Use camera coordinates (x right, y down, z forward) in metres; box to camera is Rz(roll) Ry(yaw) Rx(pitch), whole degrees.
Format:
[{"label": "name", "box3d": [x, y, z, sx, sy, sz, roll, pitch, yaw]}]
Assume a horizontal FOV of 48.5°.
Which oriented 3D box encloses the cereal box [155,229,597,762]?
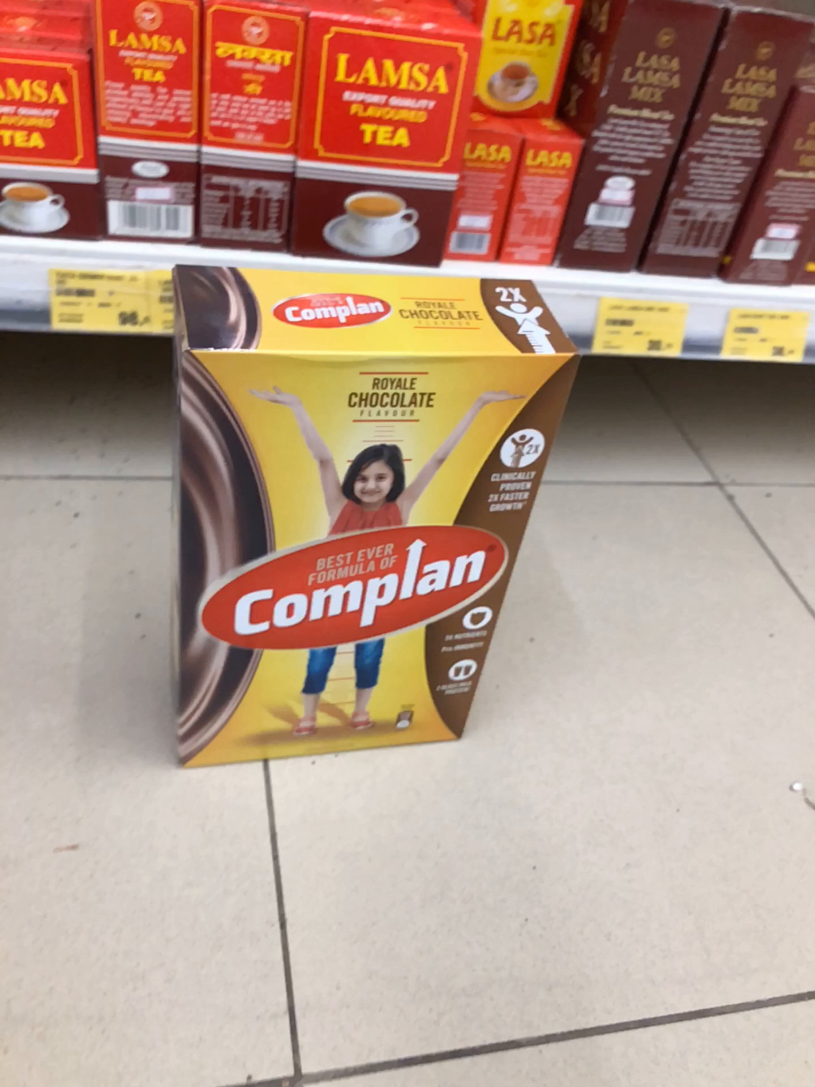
[{"label": "cereal box", "box3d": [-0.033, -0.008, 0.427, 0.160, 0.248, 0.070, -2, 42, -17]}]
